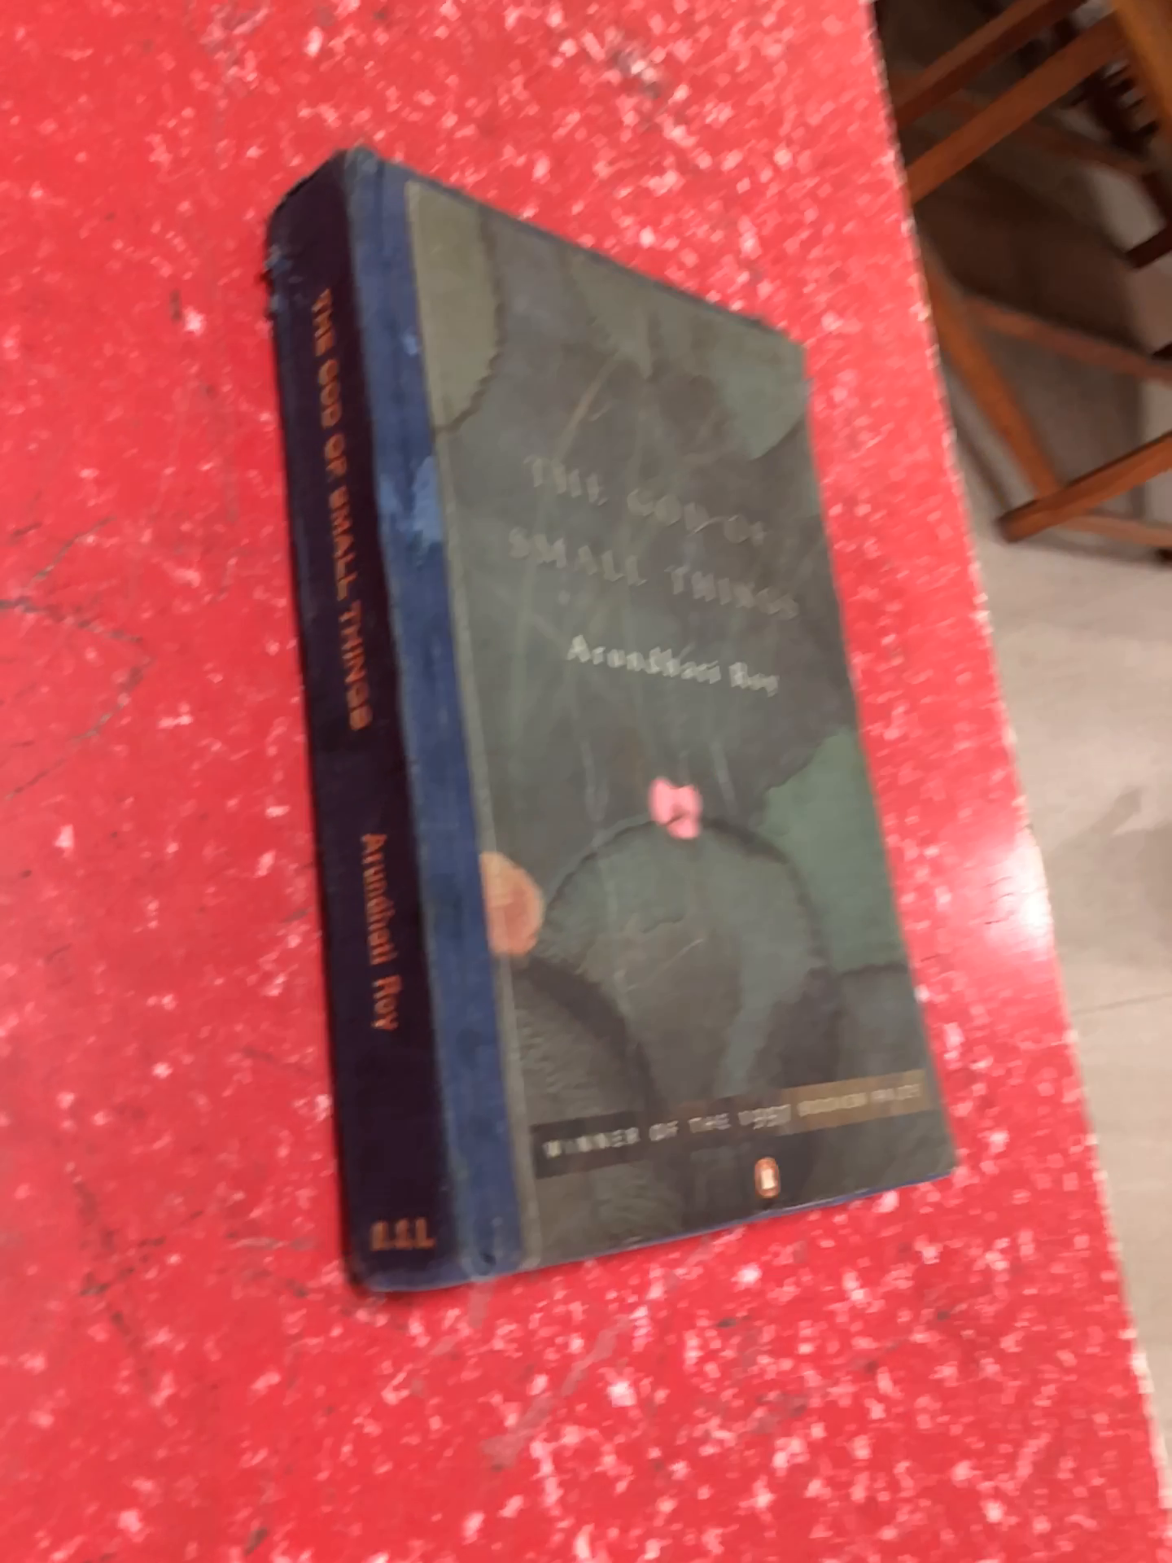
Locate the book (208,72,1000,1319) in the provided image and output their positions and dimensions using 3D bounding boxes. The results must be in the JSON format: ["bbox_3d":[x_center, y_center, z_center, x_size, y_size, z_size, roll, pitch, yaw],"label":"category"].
[{"bbox_3d":[0.006,-0.017,0.280,0.151,0.040,0.220,4,71,-40],"label":"book"}]
